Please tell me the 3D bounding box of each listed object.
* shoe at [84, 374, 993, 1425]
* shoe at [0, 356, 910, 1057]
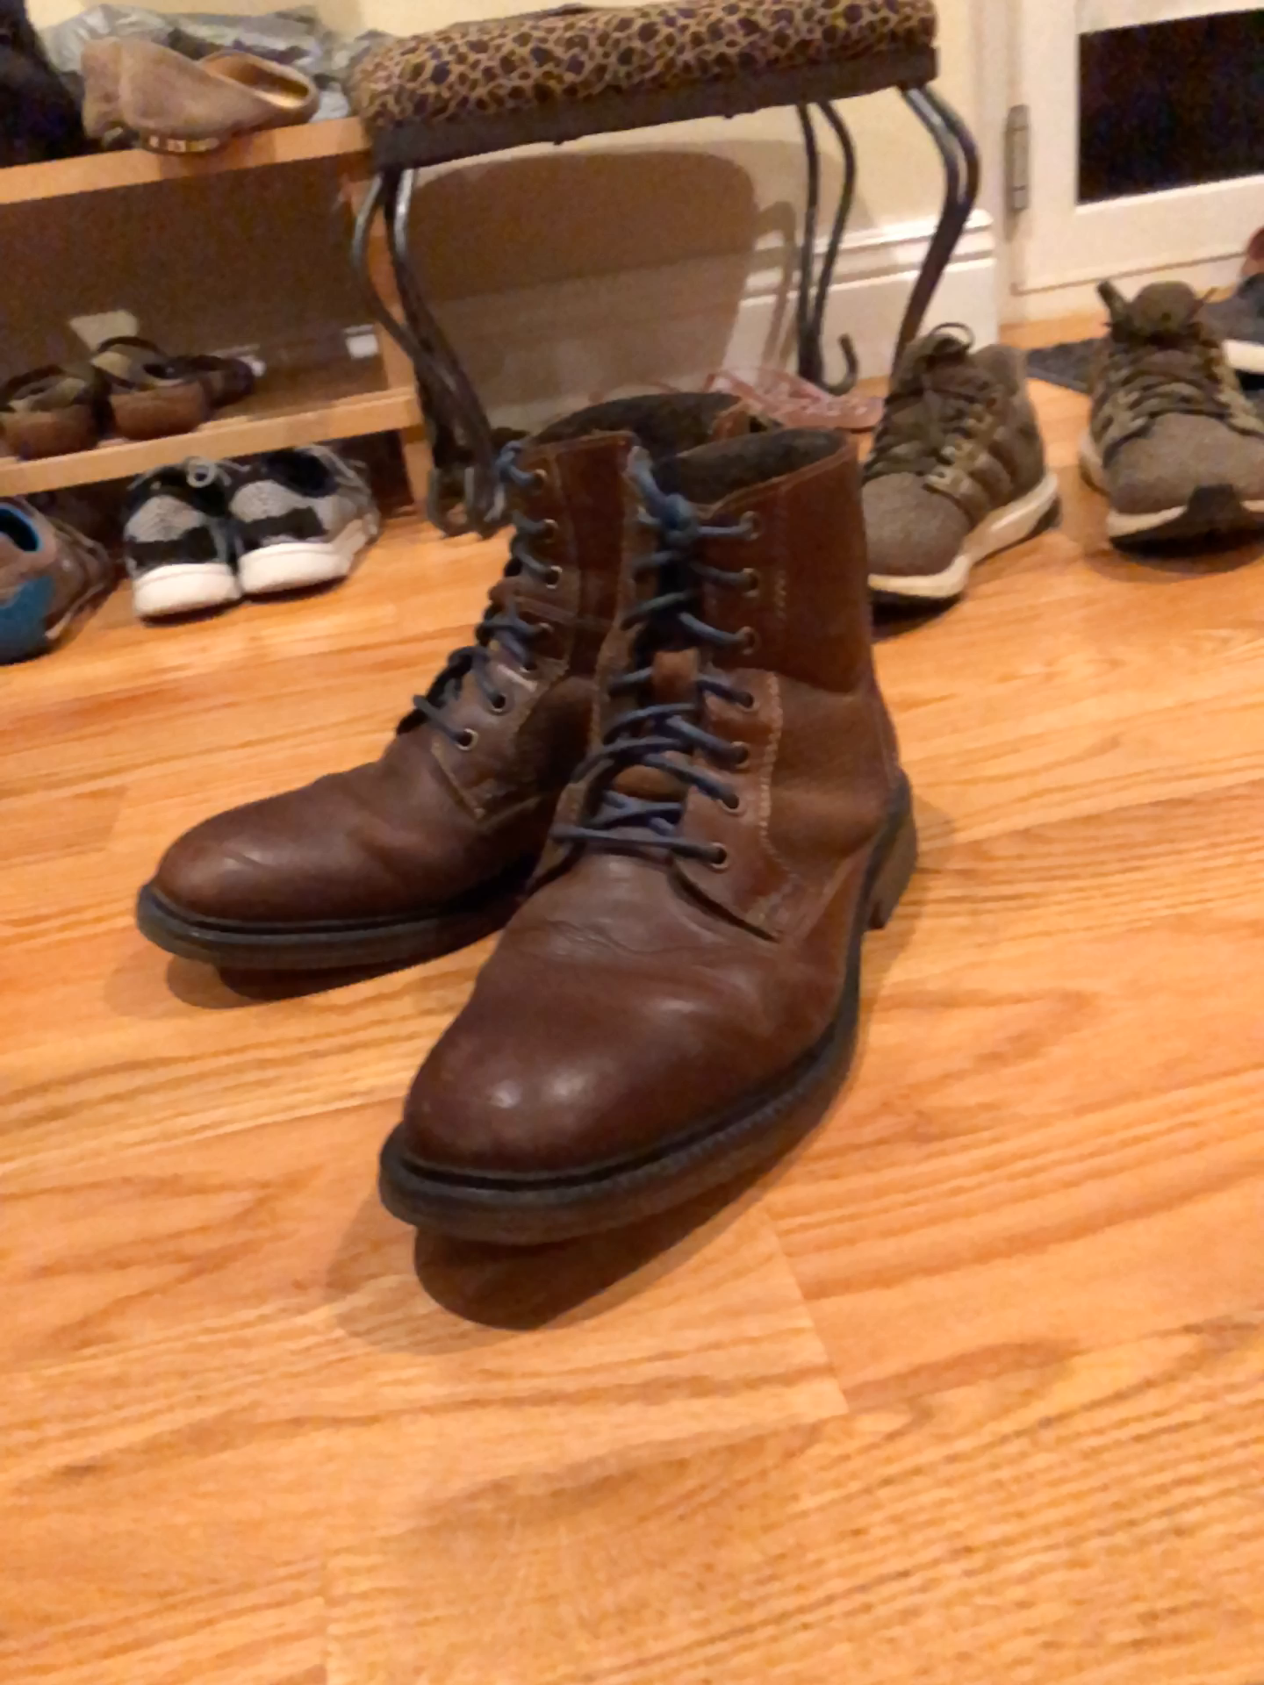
[{"bbox_3d":[0.014,-0.019,0.431,0.128,0.176,0.305,5,30,25],"label":"shoe"},{"bbox_3d":[-0.054,-0.070,0.547,0.310,0.168,0.113,-20,29,-22],"label":"shoe"}]
